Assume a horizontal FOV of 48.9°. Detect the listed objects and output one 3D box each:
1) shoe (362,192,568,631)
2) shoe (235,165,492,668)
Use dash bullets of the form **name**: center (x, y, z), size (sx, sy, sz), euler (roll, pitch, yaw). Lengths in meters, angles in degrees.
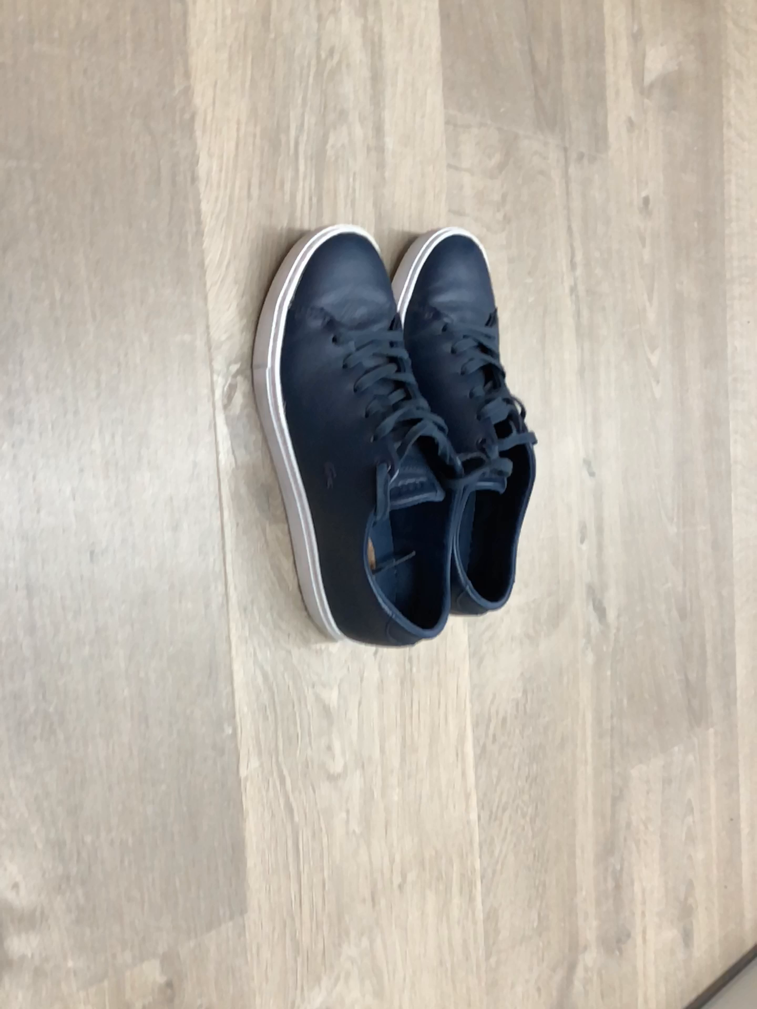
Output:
- **shoe**: center (0.055, -0.053, 0.533), size (0.100, 0.080, 0.247), euler (0, 91, -40)
- **shoe**: center (-0.007, -0.047, 0.473), size (0.101, 0.080, 0.247), euler (-8, 96, -40)
